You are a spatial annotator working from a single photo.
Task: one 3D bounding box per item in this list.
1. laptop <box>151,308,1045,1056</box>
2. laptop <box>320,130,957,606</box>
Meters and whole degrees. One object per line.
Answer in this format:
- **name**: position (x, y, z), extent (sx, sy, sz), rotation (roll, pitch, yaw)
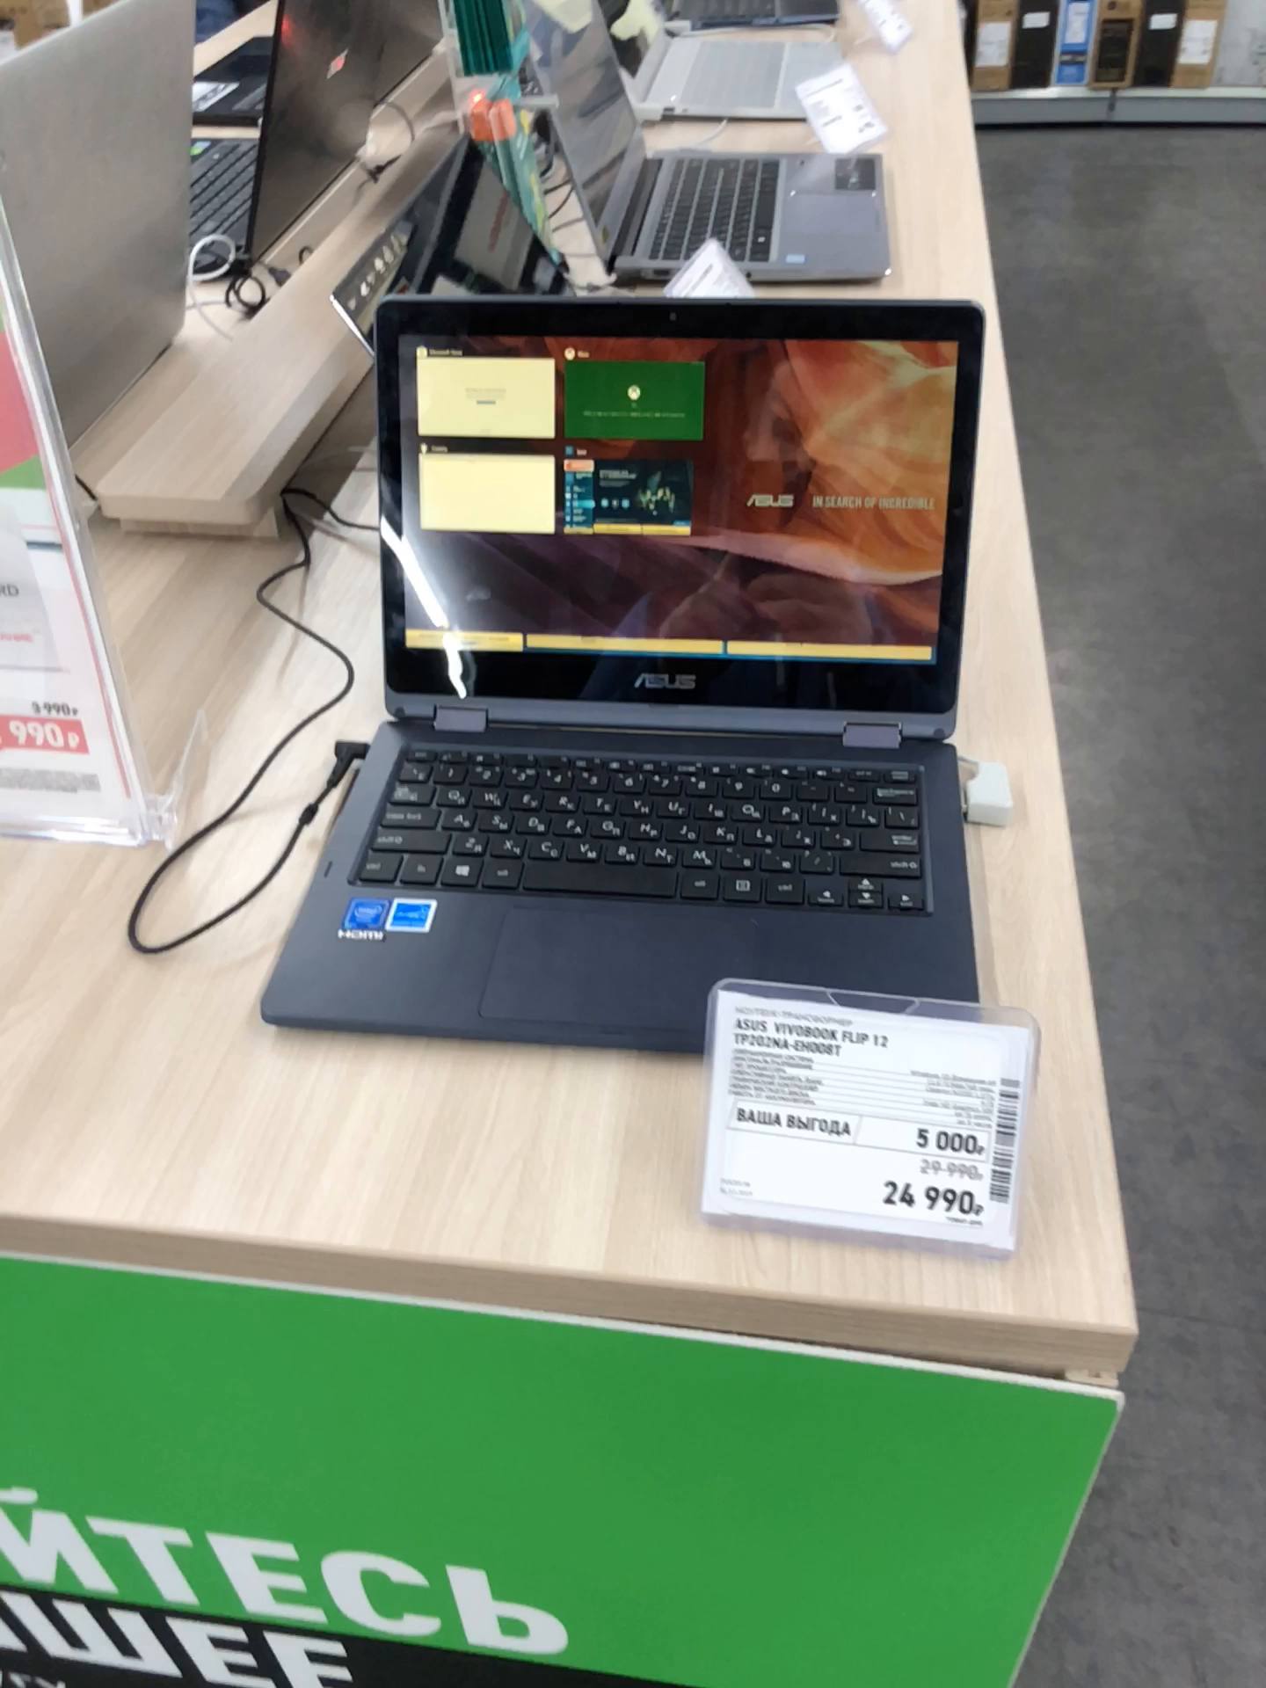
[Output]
- **laptop**: position (0.005, -0.084, 0.576), extent (0.269, 0.166, 0.281), rotation (3, 41, 6)
- **laptop**: position (0.022, -0.282, 0.799), extent (0.298, 0.162, 0.263), rotation (4, 42, 7)
